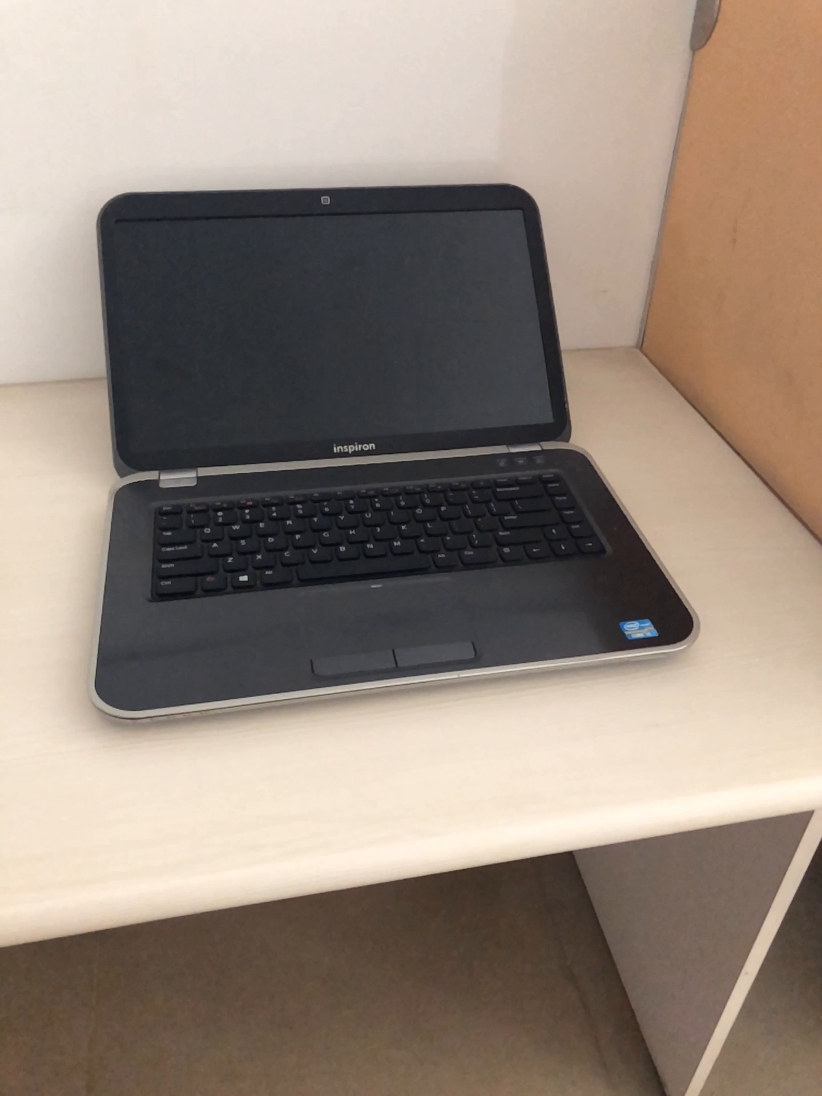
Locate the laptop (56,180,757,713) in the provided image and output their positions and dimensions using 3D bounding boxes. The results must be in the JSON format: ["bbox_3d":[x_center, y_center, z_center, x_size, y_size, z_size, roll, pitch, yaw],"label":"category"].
[{"bbox_3d":[-0.033,-0.113,0.632,0.339,0.152,0.411,-5,39,-10],"label":"laptop"}]
